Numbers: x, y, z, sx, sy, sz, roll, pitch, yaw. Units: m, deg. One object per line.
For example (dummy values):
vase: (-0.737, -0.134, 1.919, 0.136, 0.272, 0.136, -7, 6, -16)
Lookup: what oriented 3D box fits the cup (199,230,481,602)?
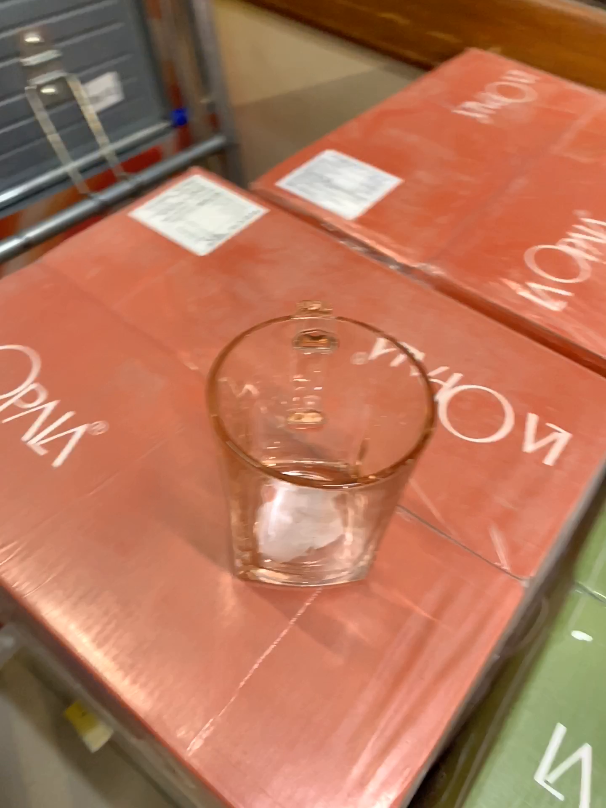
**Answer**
cup: (0.007, 0.009, 0.252, 0.080, 0.110, 0.100, 2, 51, -3)
